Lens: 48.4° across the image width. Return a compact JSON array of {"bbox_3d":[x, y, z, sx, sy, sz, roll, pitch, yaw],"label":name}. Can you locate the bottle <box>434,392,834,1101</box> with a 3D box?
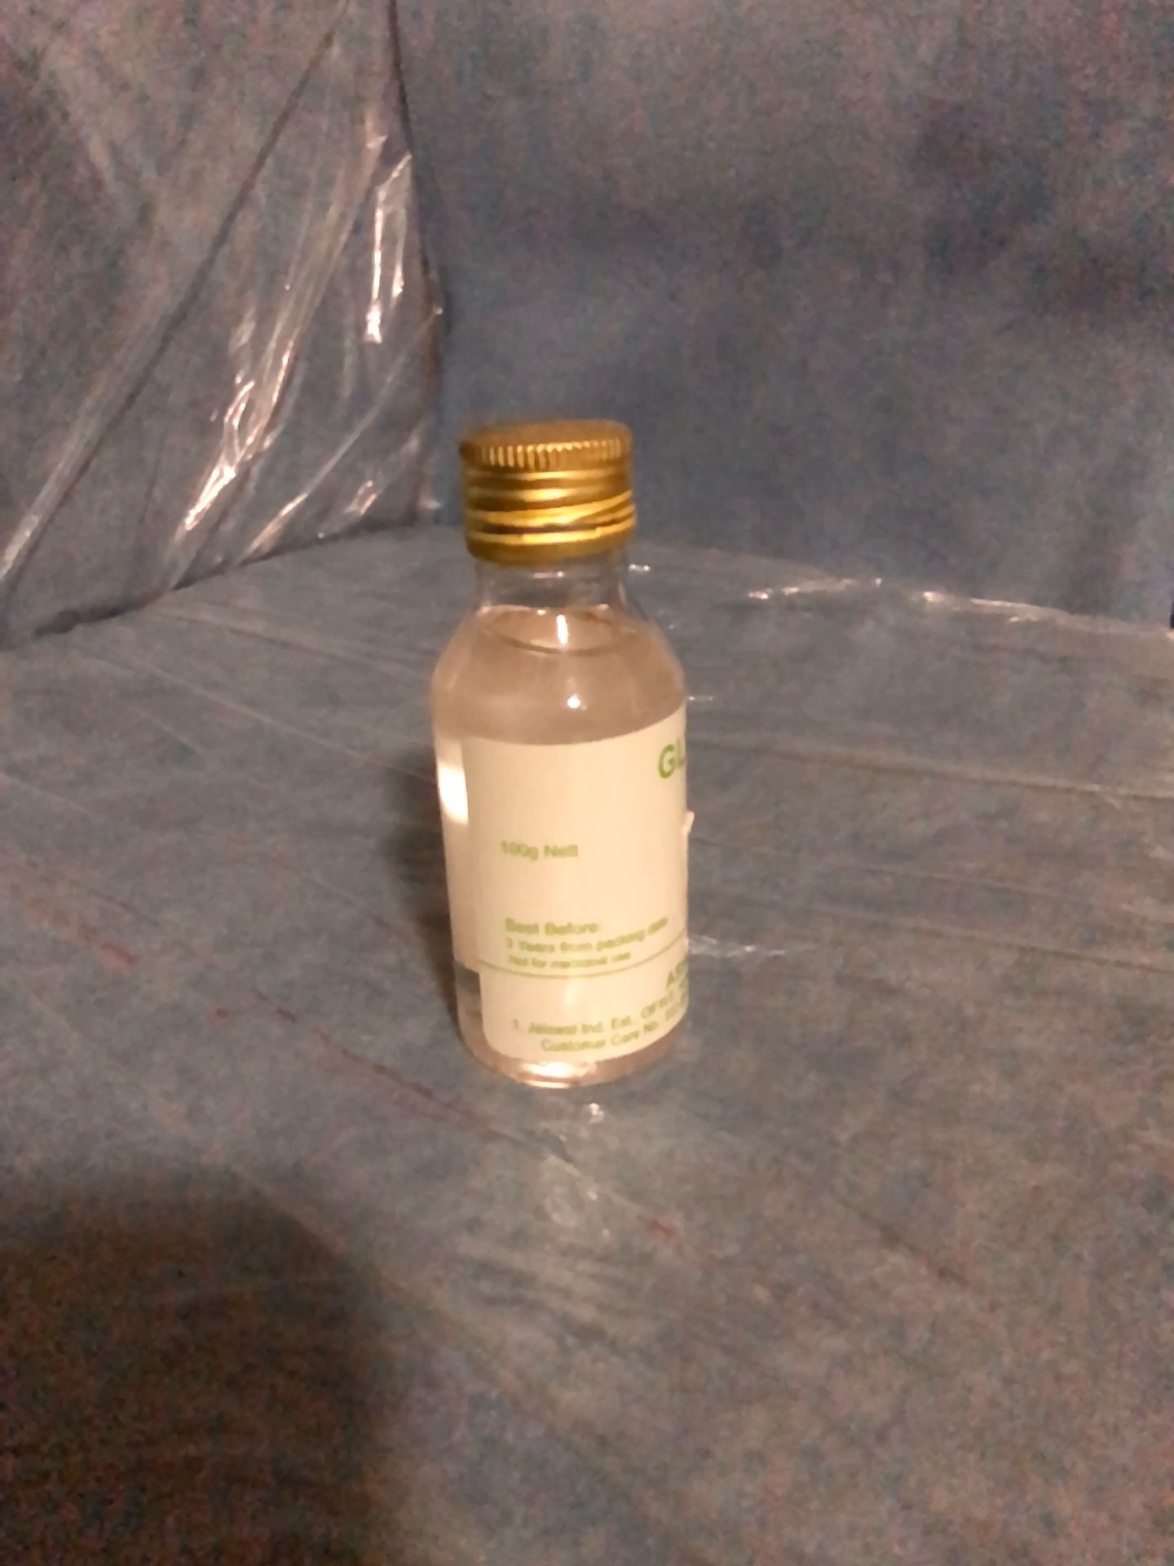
[{"bbox_3d":[0.006,-0.006,0.207,0.050,0.100,0.050,0,25,0],"label":"bottle"}]
